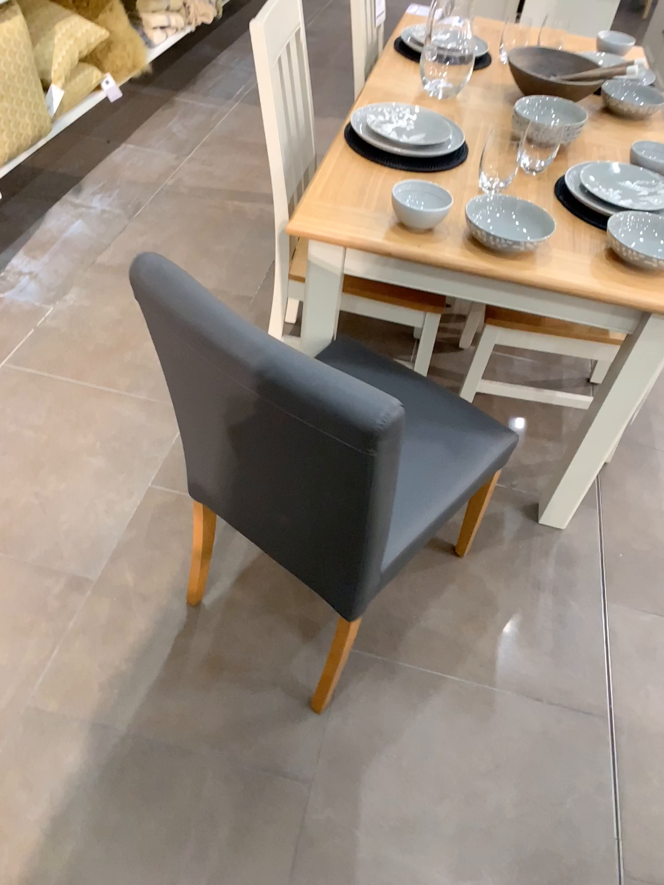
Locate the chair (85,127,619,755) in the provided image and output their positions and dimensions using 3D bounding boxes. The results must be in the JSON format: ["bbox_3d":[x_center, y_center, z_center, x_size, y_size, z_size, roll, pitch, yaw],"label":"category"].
[{"bbox_3d":[0.022,0.019,1.296,0.476,0.907,0.653,33,51,21],"label":"chair"}]
